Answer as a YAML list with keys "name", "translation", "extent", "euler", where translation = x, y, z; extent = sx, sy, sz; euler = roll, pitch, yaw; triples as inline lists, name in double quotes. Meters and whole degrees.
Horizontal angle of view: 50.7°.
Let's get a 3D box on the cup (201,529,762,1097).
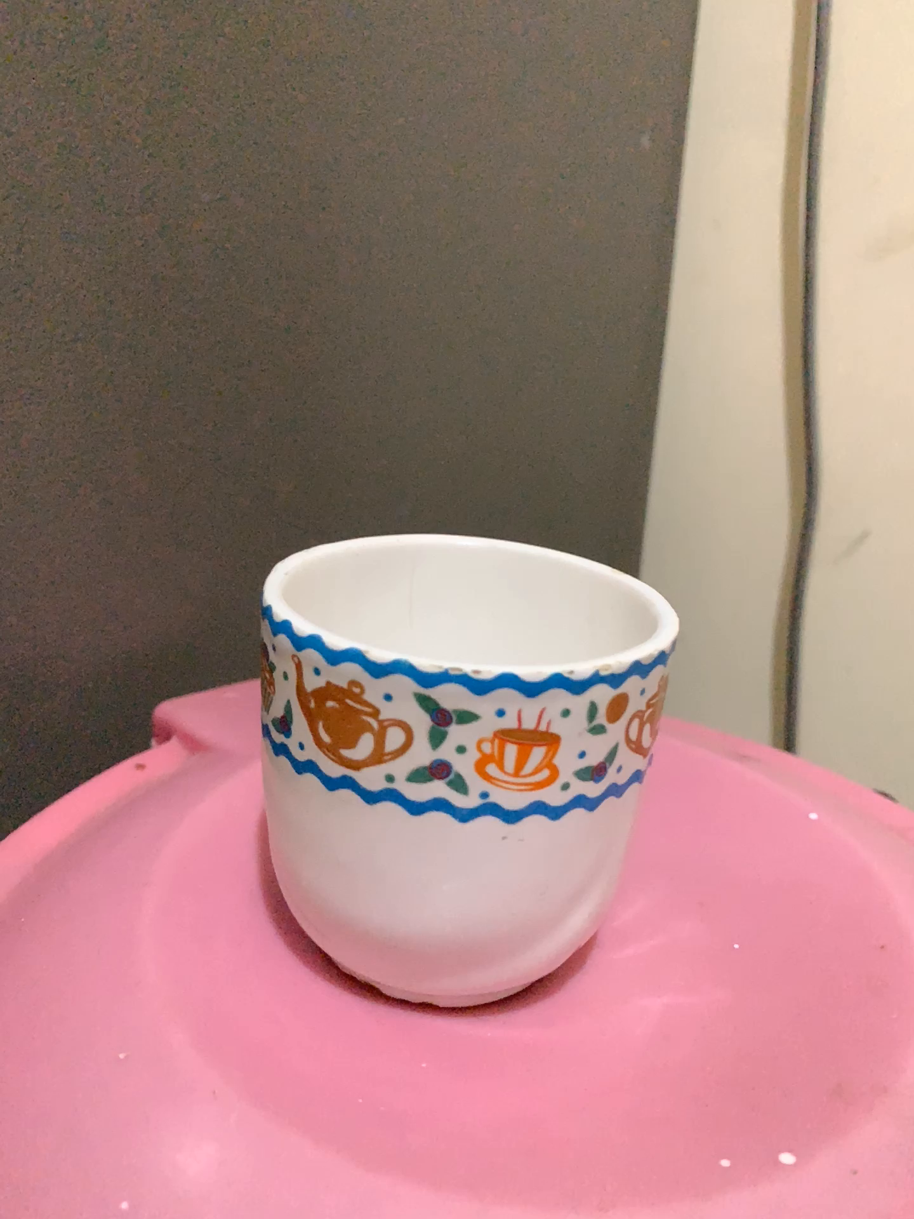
- name: "cup"
  translation: [-0.002, 0.025, 0.167]
  extent: [0.070, 0.060, 0.070]
  euler: [2, 17, -1]
